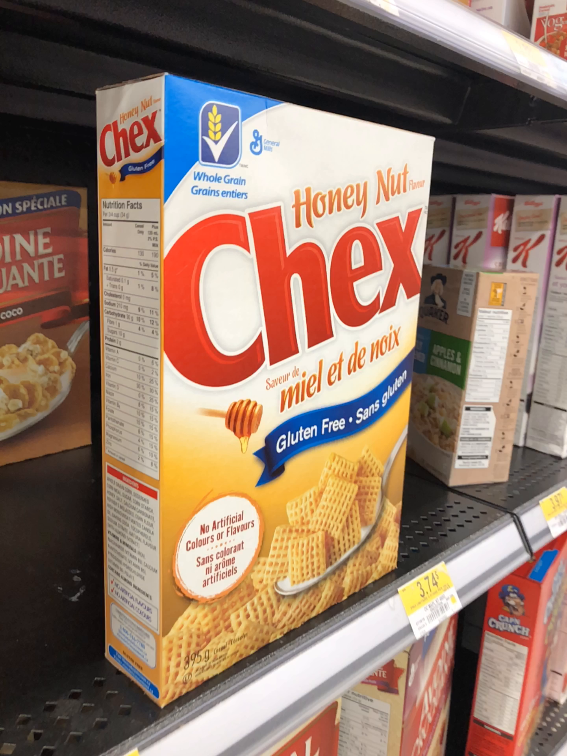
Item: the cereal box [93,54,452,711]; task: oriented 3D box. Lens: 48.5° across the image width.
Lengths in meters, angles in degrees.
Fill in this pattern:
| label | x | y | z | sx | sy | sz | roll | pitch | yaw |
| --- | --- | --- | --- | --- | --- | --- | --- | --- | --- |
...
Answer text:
| label | x | y | z | sx | sy | sz | roll | pitch | yaw |
| --- | --- | --- | --- | --- | --- | --- | --- | --- | --- |
| cereal box | 0.005 | -0.002 | 0.352 | 0.050 | 0.279 | 0.210 | 13 | 16 | 43 |
